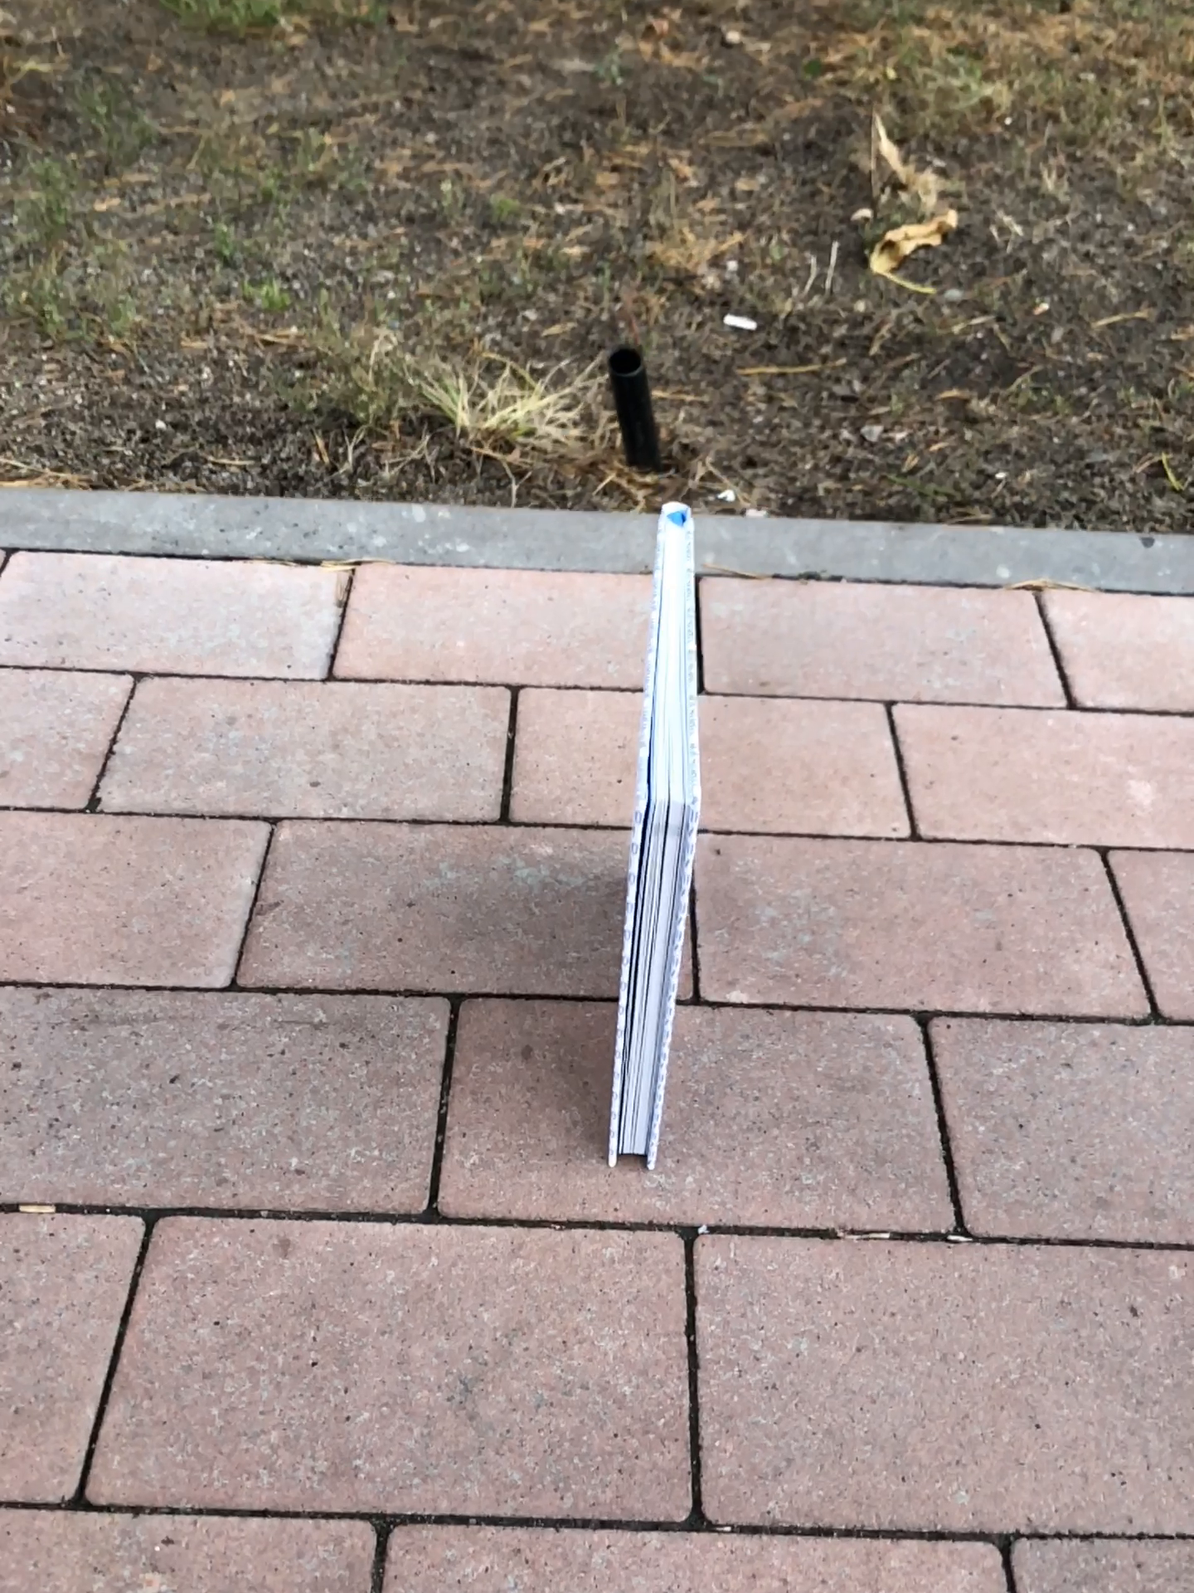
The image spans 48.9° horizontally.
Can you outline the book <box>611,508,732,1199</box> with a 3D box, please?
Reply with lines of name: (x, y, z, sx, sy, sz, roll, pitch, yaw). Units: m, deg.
book: (0.024, 0.024, 0.466, 0.022, 0.196, 0.152, 4, 45, 0)
